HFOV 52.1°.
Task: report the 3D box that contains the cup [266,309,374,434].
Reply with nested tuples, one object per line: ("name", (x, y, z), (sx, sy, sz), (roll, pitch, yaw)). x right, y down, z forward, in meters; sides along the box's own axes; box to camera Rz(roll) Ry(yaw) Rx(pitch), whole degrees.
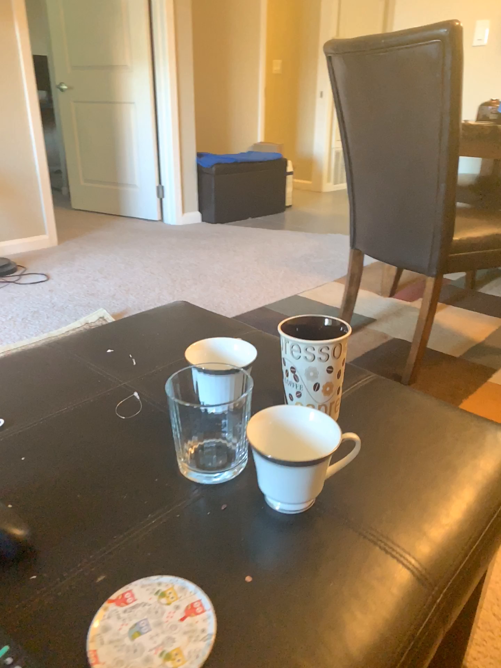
("cup", (0.078, 0.042, 0.624), (0.100, 0.109, 0.101), (0, 24, 0))

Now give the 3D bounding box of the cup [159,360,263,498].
("cup", (-0.045, 0.100, 0.559), (0.100, 0.099, 0.101), (0, 24, 0))

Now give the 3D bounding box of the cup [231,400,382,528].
("cup", (0.048, 0.121, 0.499), (0.120, 0.060, 0.101), (-4, 25, -9))

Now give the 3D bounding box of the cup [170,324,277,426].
("cup", (-0.031, 0.046, 0.647), (0.090, 0.070, 0.110), (11, 26, 22))
